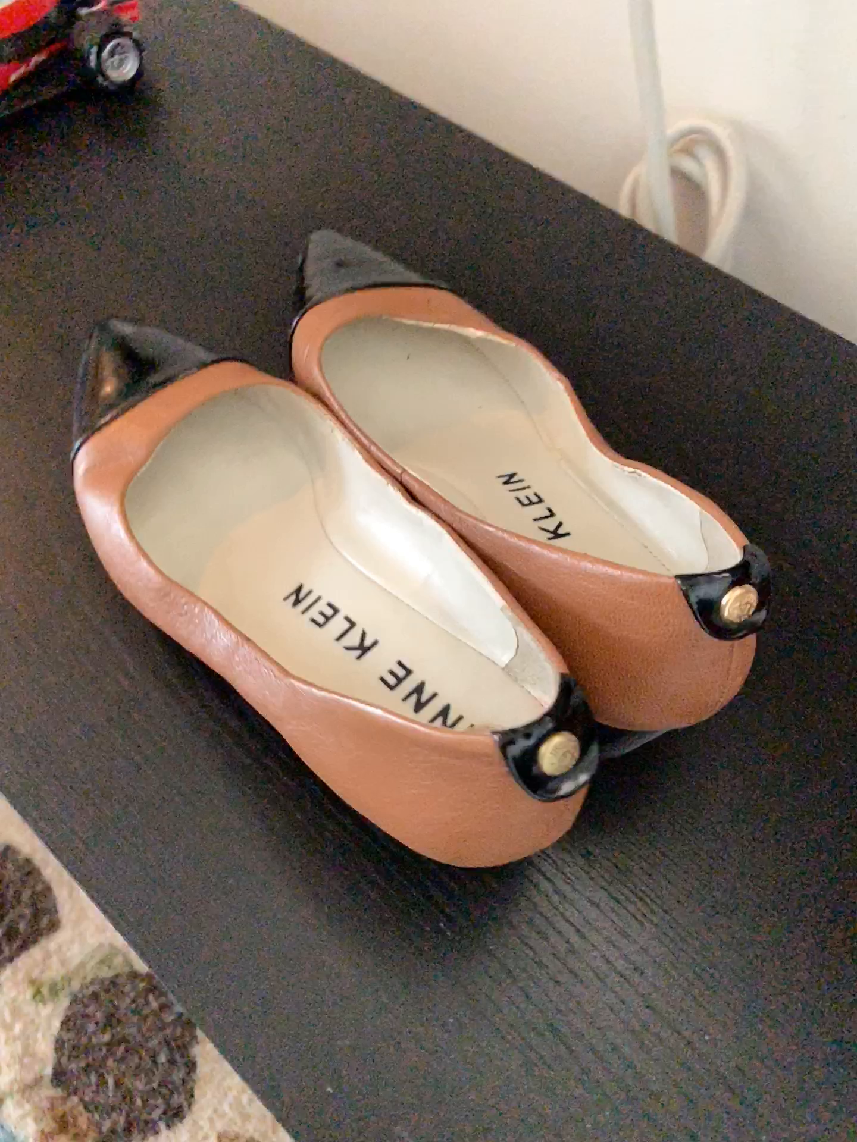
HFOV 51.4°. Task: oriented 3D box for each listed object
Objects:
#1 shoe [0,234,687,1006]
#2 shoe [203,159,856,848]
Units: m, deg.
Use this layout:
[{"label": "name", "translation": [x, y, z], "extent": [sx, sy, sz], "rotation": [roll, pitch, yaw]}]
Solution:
[{"label": "shoe", "translation": [-0.052, -0.016, 0.281], "extent": [0.090, 0.079, 0.261], "rotation": [-28, 47, -21]}, {"label": "shoe", "translation": [0.010, -0.050, 0.301], "extent": [0.080, 0.079, 0.261], "rotation": [-23, 47, -16]}]
